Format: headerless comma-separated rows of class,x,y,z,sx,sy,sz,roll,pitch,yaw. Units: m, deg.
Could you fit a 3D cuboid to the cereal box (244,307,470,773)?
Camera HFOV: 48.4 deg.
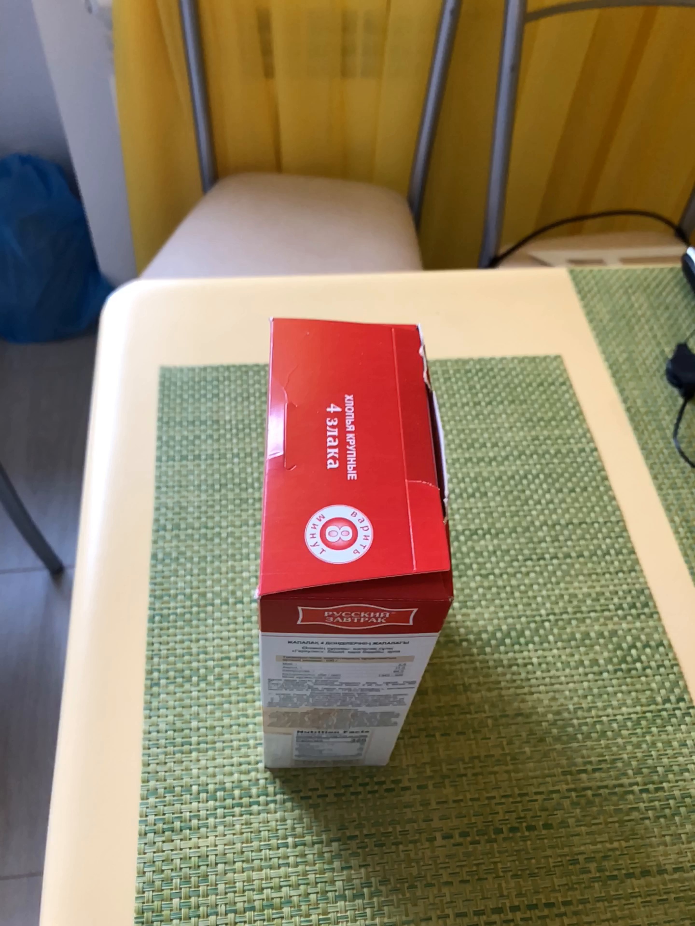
cereal box,-0.004,0.048,0.358,0.070,0.199,0.131,1,54,-4
